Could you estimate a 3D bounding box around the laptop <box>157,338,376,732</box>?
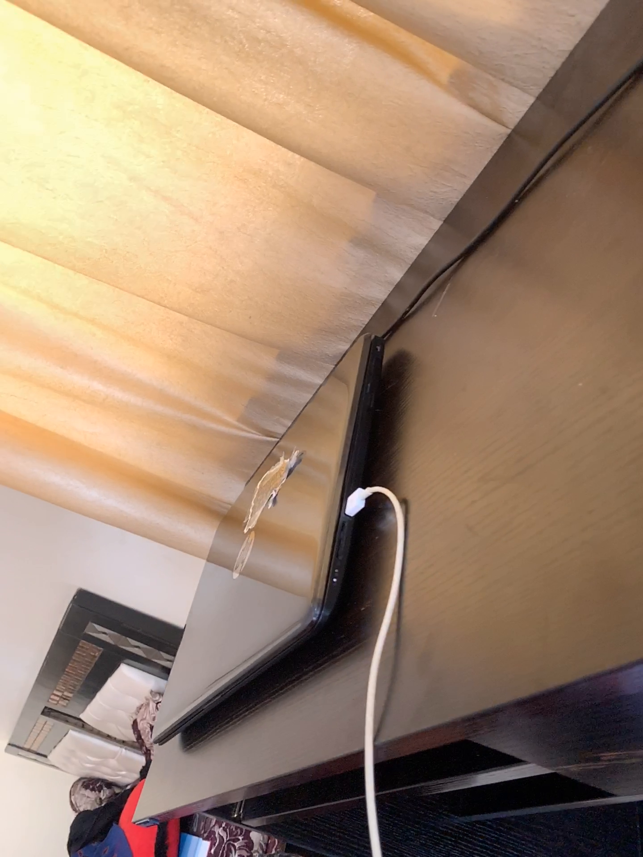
[{"bbox_3d":[-0.059,0.114,0.586,0.374,0.006,0.237,-51,19,48],"label":"laptop"}]
